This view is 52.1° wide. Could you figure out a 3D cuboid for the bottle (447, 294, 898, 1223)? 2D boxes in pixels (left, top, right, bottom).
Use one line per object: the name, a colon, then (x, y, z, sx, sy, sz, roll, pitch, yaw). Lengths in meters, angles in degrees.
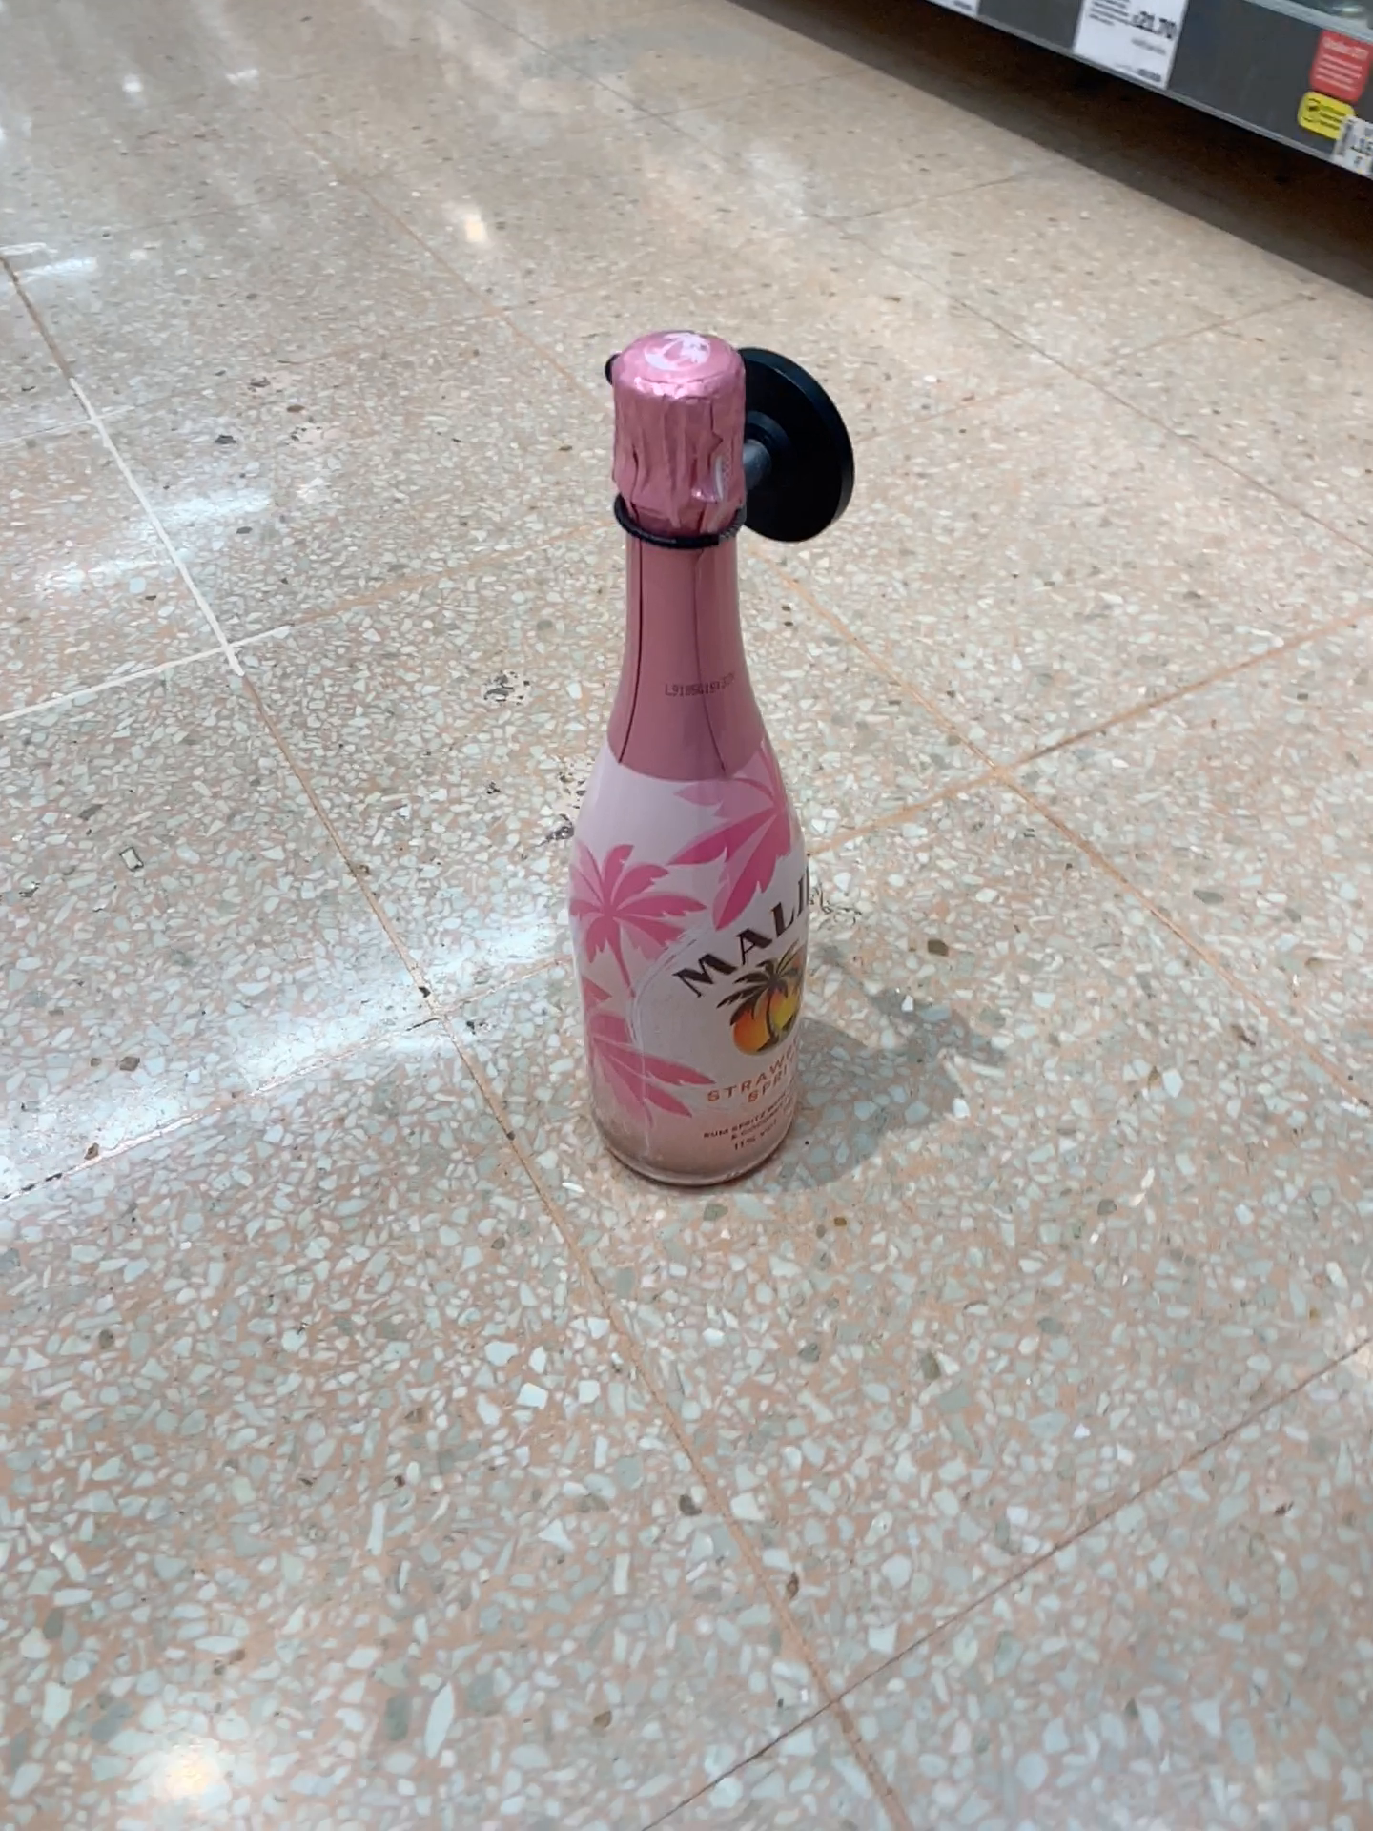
bottle: (0.001, -0.027, 0.437, 0.080, 0.286, 0.081, -1, 47, 1)
